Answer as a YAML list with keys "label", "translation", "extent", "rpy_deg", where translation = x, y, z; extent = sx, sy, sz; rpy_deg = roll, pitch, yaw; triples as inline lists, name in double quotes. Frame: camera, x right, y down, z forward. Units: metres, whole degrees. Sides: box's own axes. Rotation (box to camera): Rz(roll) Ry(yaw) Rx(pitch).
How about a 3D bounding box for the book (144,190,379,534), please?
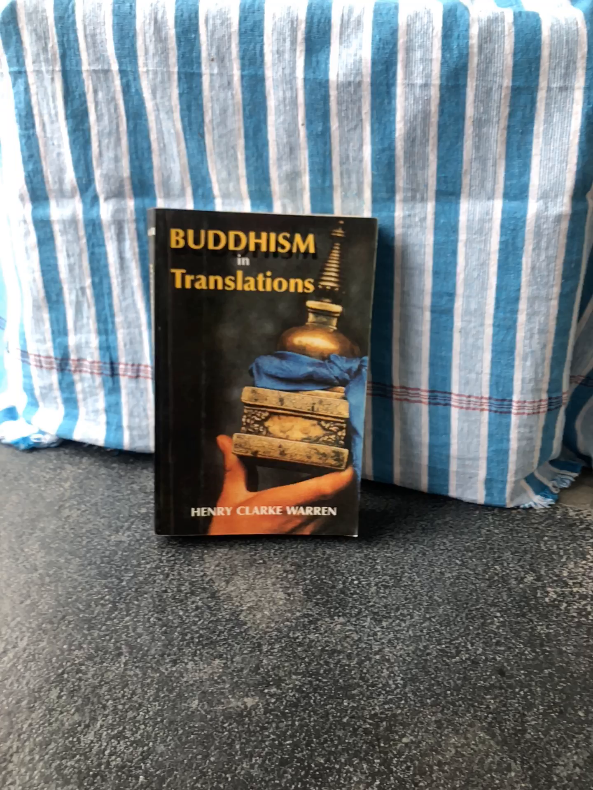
- label: "book"
  translation: [-0.024, -0.019, 0.432]
  extent: [0.140, 0.210, 0.050]
  rpy_deg: [1, 6, -4]
